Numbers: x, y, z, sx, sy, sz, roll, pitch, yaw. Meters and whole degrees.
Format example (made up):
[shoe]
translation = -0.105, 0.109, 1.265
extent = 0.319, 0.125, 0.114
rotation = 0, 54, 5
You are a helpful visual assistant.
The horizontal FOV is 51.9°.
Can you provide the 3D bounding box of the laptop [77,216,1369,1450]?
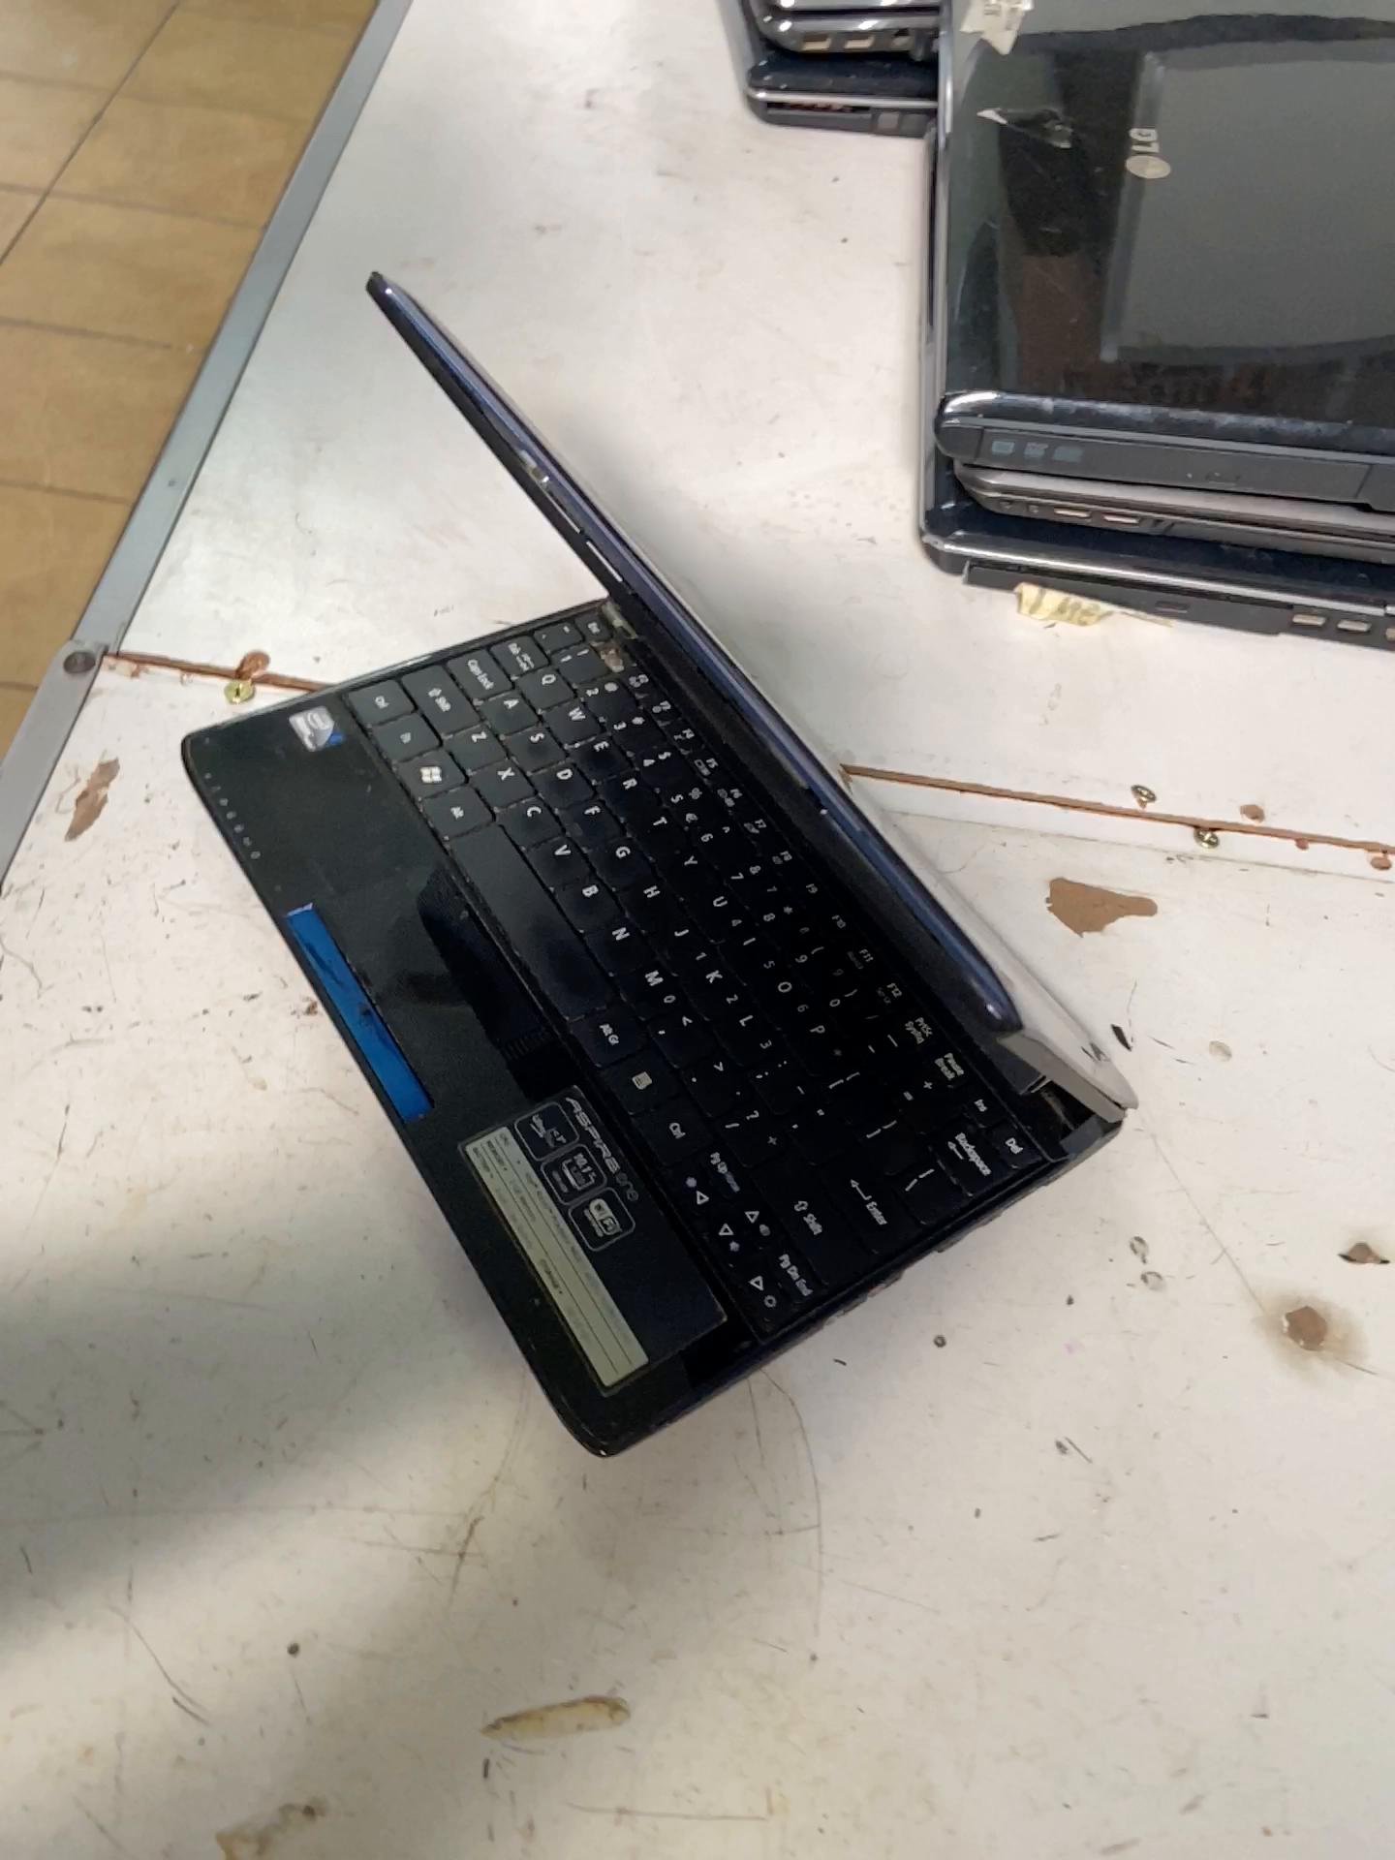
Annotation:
[laptop]
translation = -0.011, -0.039, 0.362
extent = 0.171, 0.131, 0.244
rotation = -25, 62, -24
